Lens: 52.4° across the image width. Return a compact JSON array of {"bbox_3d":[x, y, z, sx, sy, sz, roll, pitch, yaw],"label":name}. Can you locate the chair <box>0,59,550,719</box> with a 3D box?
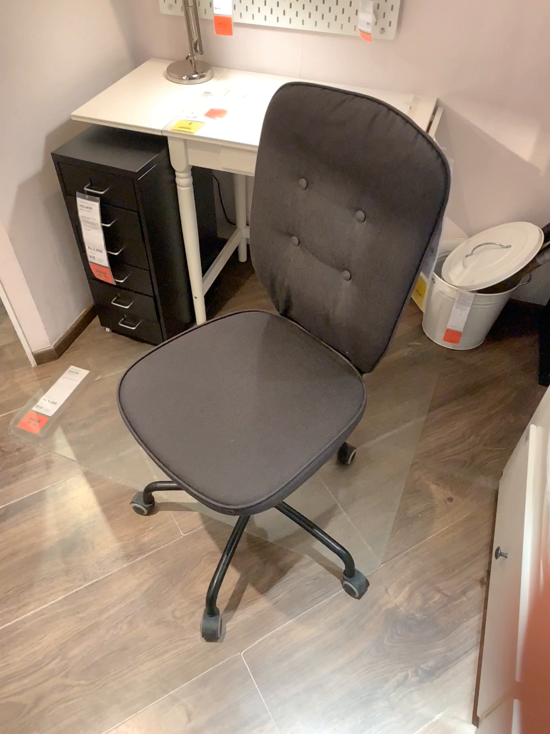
[{"bbox_3d":[-0.005,0.049,1.153,0.651,0.947,0.731,34,55,28],"label":"chair"}]
